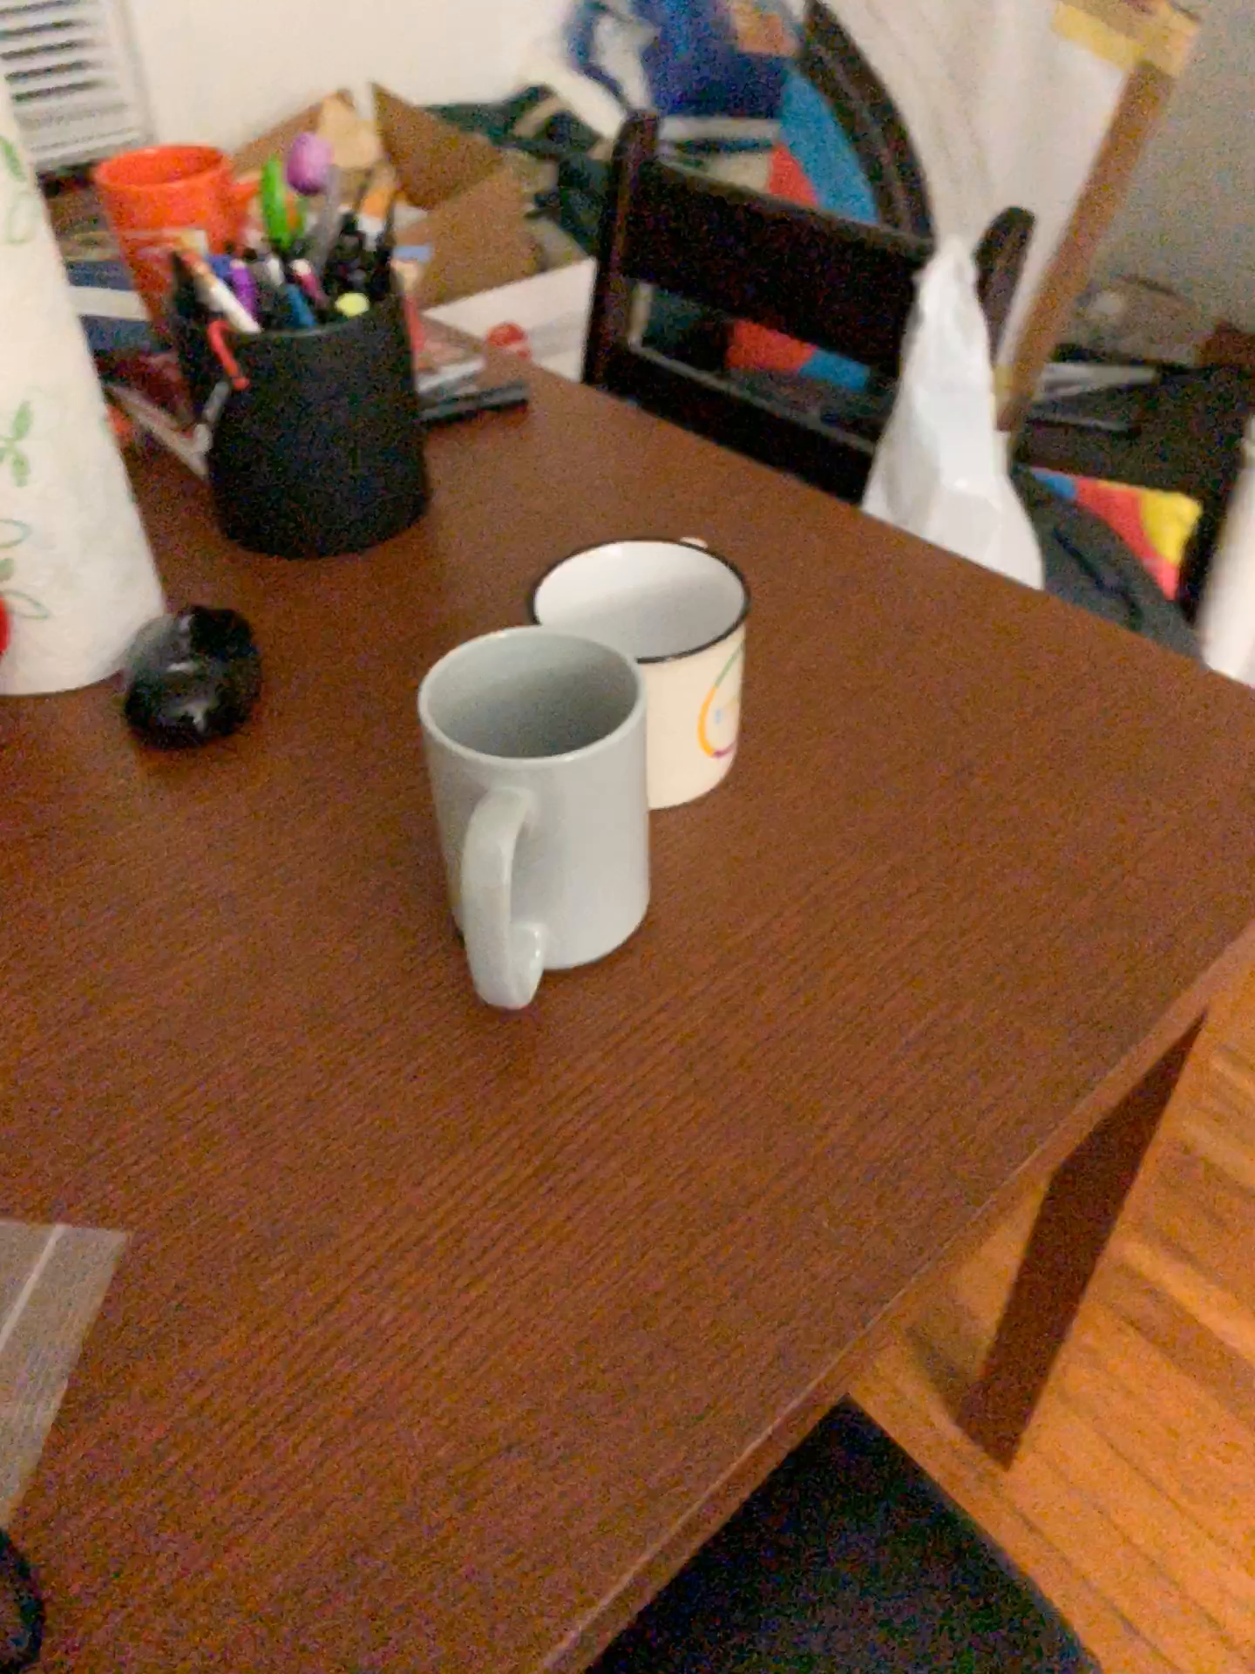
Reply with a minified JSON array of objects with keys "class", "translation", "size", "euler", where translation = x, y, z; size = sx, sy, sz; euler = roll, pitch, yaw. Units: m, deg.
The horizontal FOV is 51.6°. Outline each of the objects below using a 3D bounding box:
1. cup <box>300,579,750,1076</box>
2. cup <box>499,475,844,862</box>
[{"class":"cup","translation":[-0.031,-0.009,0.494],"size":[0.100,0.099,0.140],"euler":[20,47,22]},{"class":"cup","translation":[0.023,-0.081,0.595],"size":[0.100,0.099,0.130],"euler":[20,47,22]}]
